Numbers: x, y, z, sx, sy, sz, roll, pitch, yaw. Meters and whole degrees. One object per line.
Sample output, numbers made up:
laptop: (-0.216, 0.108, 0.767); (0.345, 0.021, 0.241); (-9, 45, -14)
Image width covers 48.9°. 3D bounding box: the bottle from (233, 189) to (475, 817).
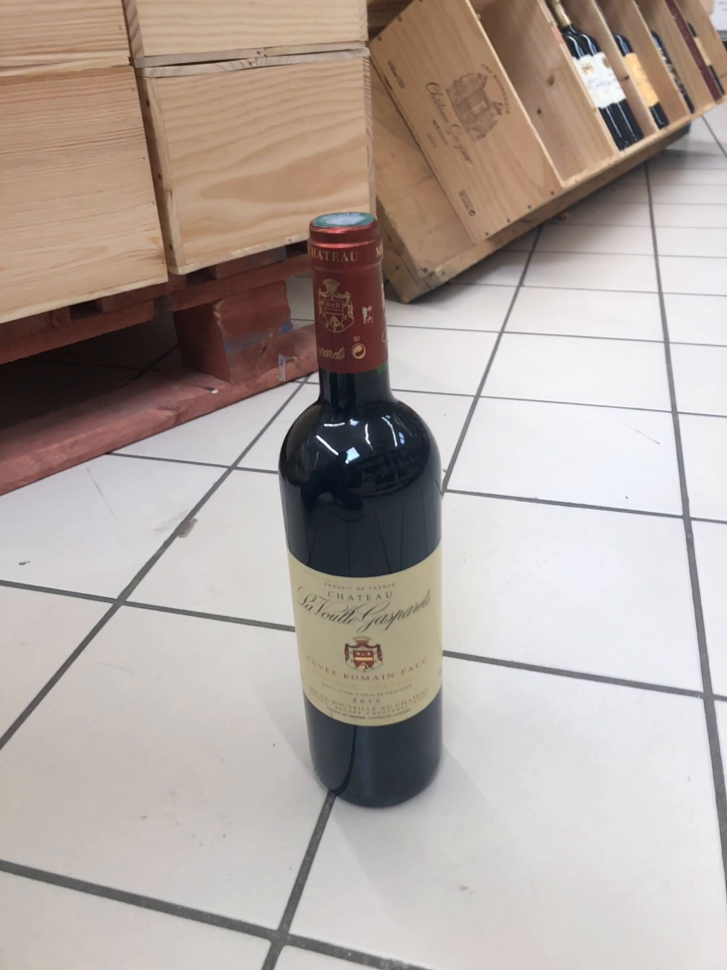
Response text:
bottle: (0.003, 0.022, 0.376); (0.080, 0.288, 0.091); (-1, 30, 2)
